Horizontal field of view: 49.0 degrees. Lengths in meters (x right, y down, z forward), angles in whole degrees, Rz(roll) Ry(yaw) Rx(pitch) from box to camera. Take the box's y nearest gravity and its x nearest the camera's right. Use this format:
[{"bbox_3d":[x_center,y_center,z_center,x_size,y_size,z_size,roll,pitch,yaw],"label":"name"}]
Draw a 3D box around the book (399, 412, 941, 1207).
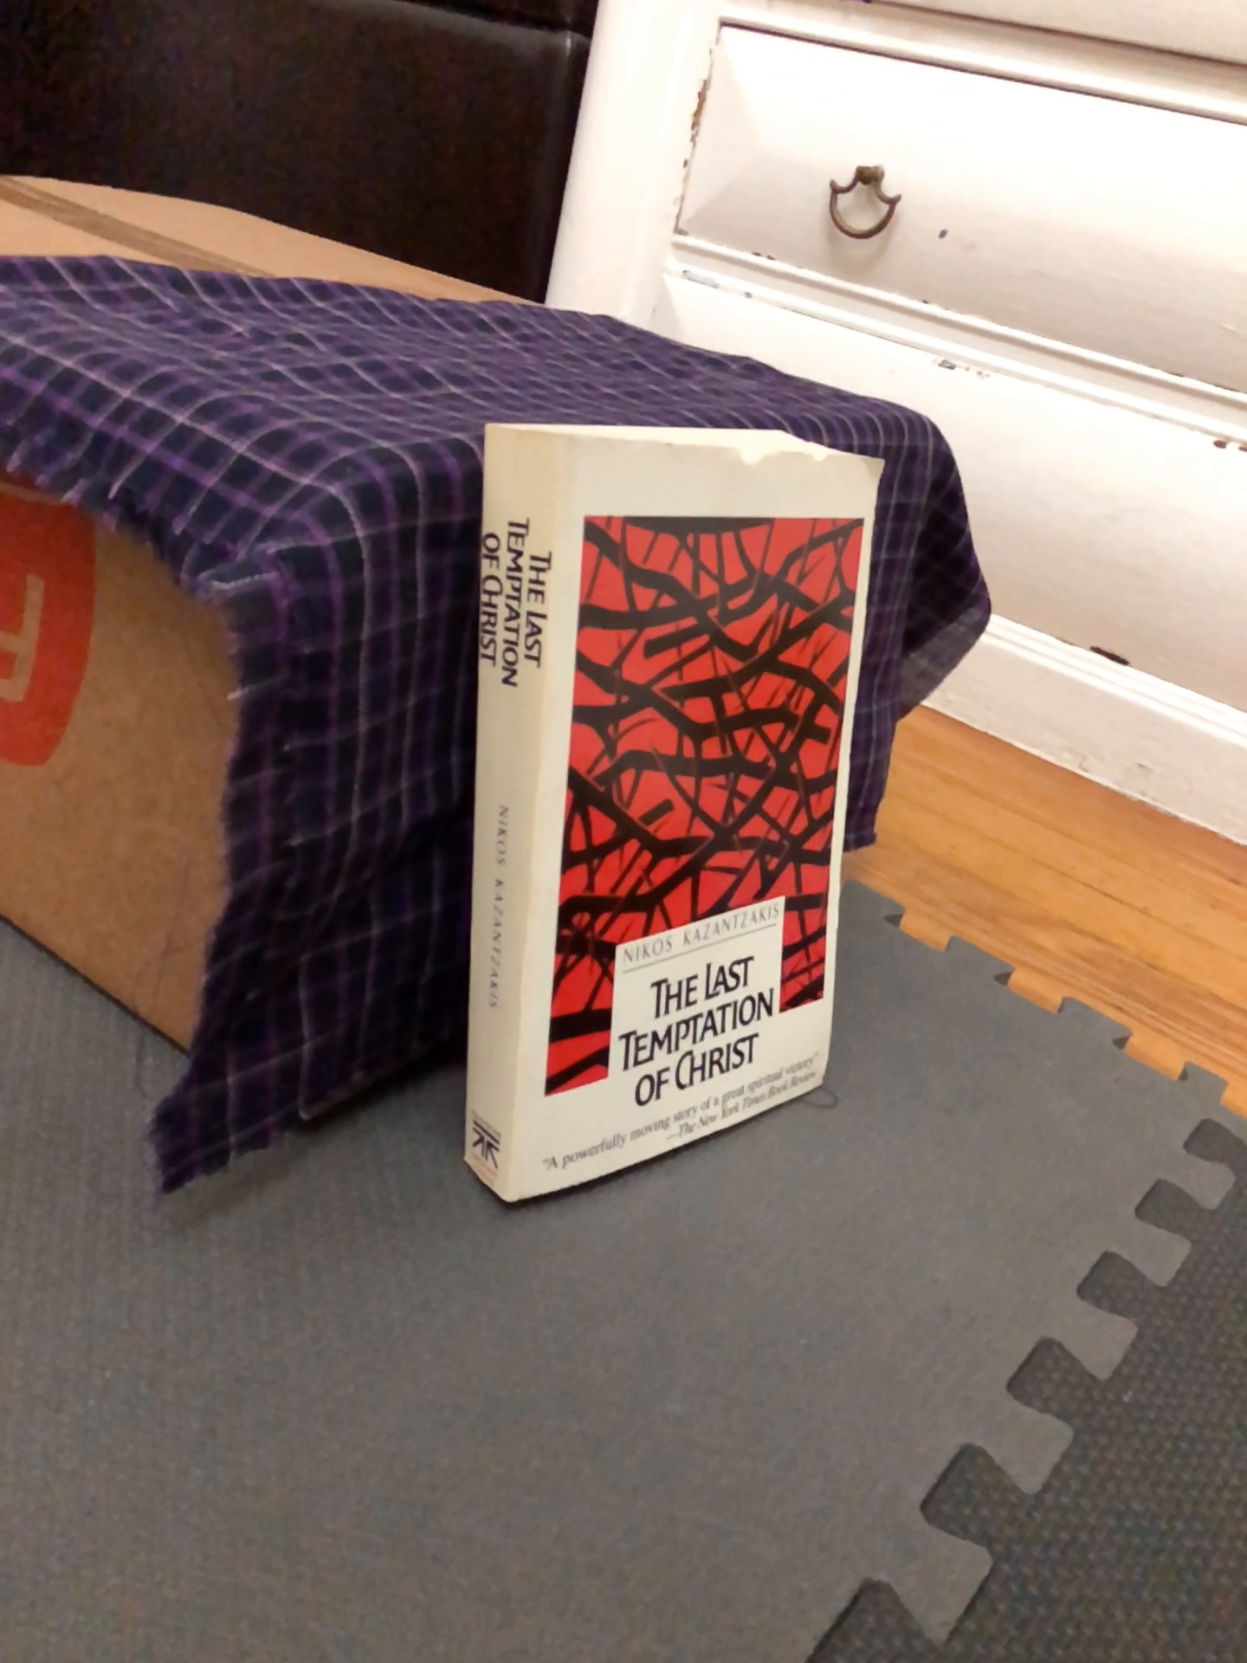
[{"bbox_3d":[0.014,-0.014,0.409,0.150,0.209,0.050,-12,23,-35],"label":"book"}]
